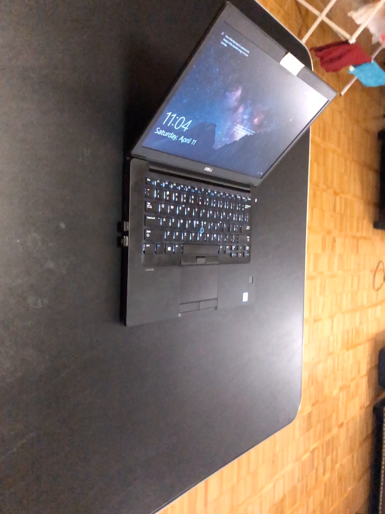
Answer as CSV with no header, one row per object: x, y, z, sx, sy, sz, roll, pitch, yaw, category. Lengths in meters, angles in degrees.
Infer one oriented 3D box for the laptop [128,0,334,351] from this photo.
0.075,-0.088,0.615,0.321,0.140,0.367,-1,91,-51,laptop
